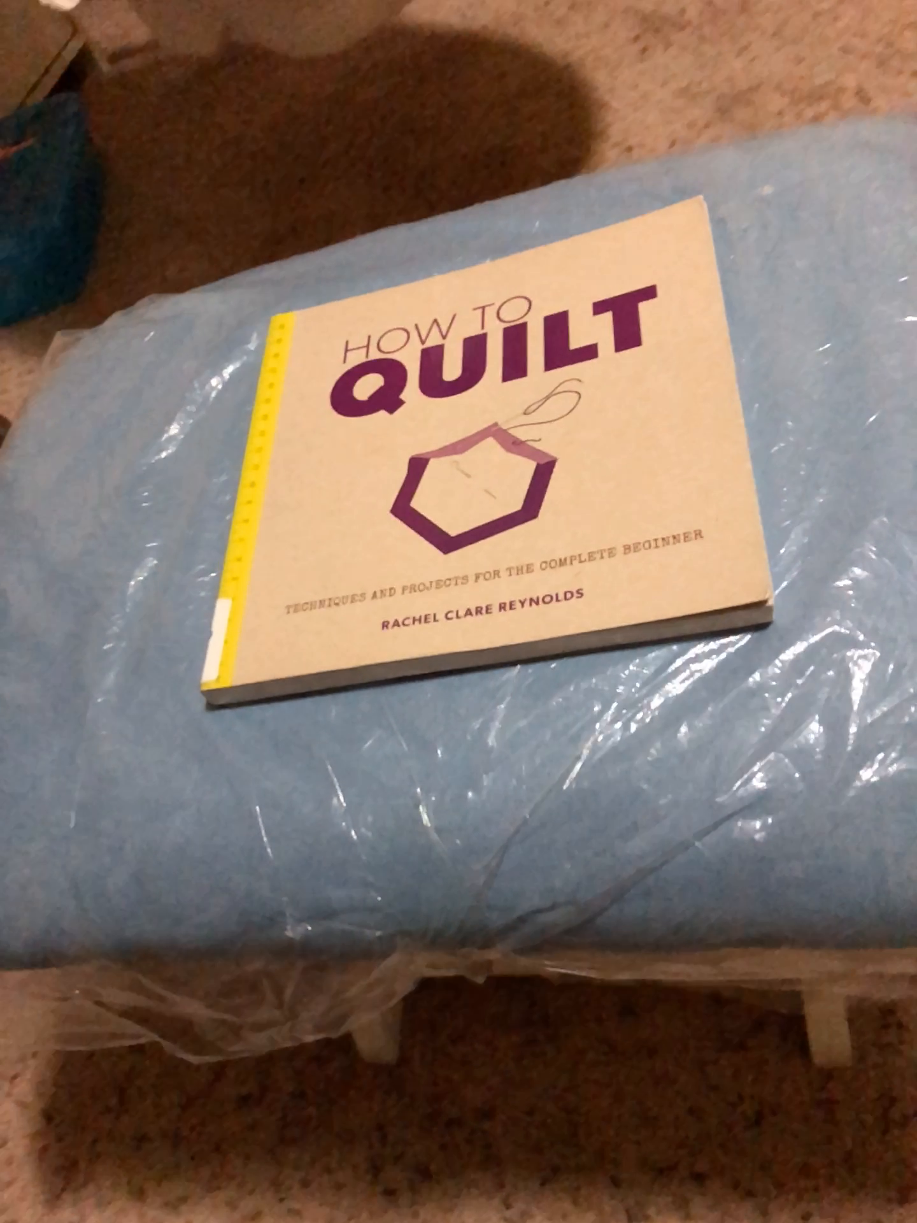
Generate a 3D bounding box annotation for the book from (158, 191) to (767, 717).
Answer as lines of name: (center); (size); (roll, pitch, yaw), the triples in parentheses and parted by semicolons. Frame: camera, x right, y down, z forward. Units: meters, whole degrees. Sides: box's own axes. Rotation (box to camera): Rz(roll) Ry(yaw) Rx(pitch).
book: (-0.003, -0.064, 0.389); (0.208, 0.020, 0.194); (-9, 56, 18)
